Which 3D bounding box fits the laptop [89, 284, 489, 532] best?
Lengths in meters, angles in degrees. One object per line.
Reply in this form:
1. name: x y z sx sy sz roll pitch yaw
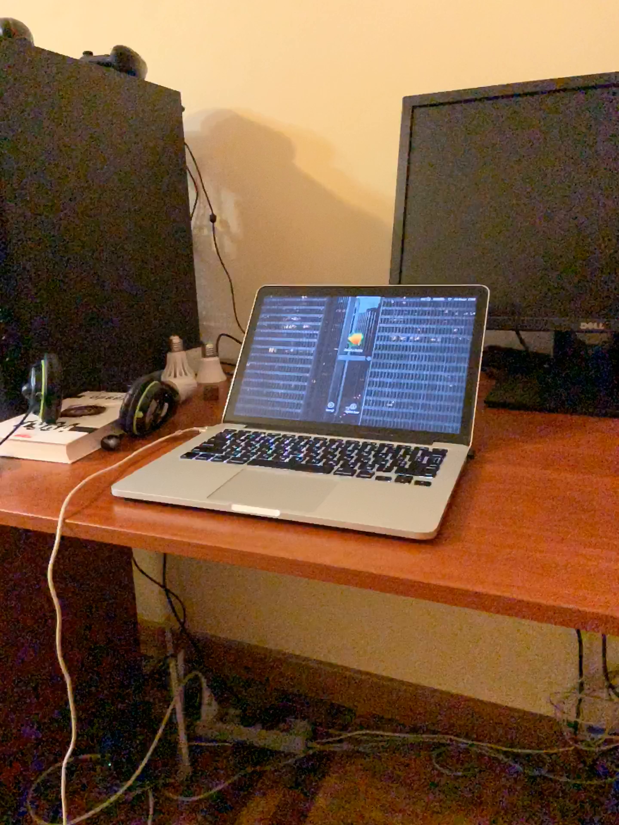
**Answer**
1. laptop: 0.014 -0.040 0.672 0.300 0.155 0.341 4 18 20
